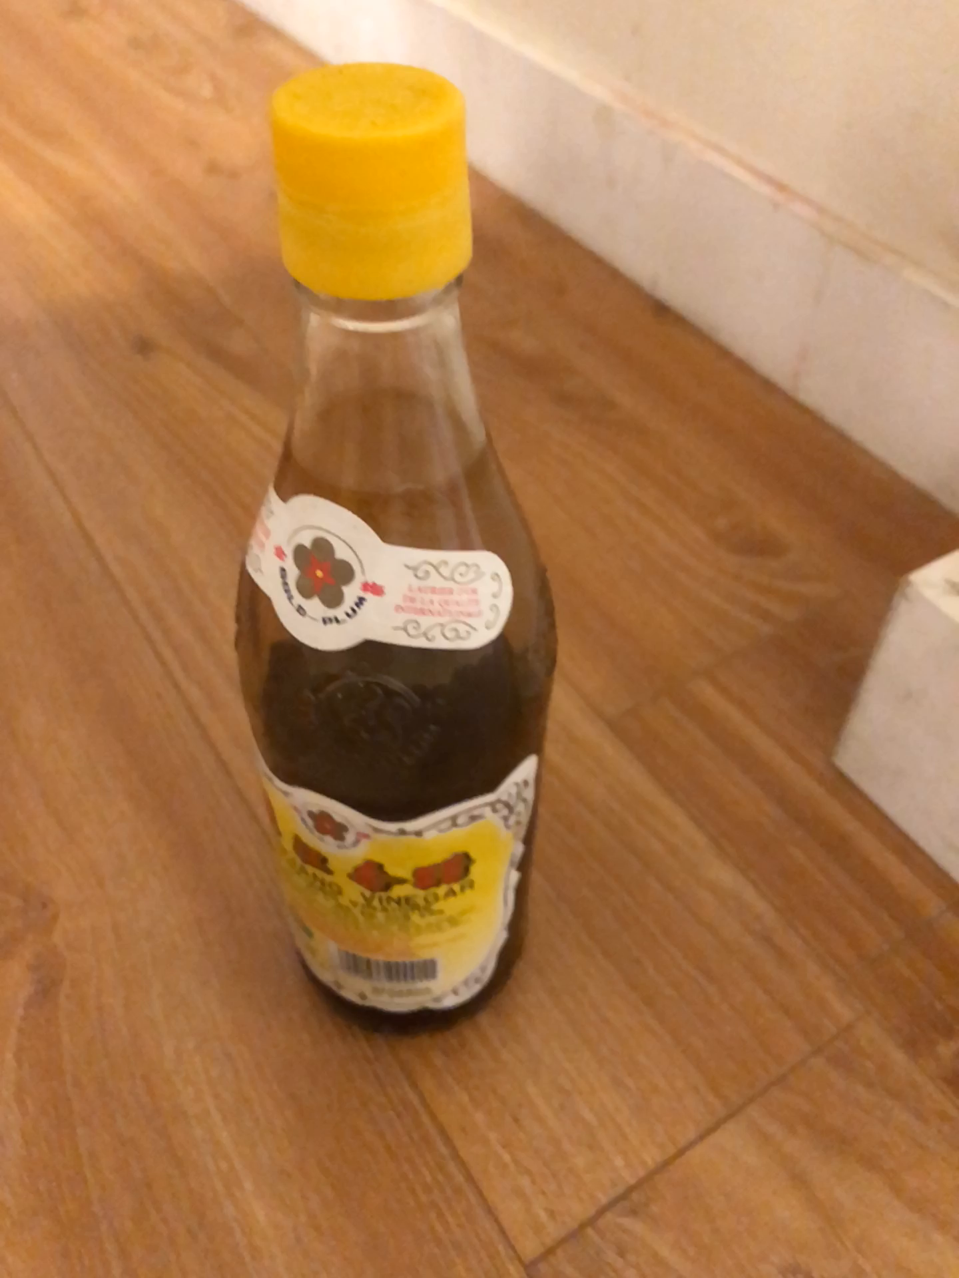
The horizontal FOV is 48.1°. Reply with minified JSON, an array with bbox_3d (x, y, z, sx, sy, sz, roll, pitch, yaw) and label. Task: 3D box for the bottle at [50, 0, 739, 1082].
[{"bbox_3d":[-0.012,0.003,0.233,0.070,0.229,0.070,1,46,-1],"label":"bottle"}]
